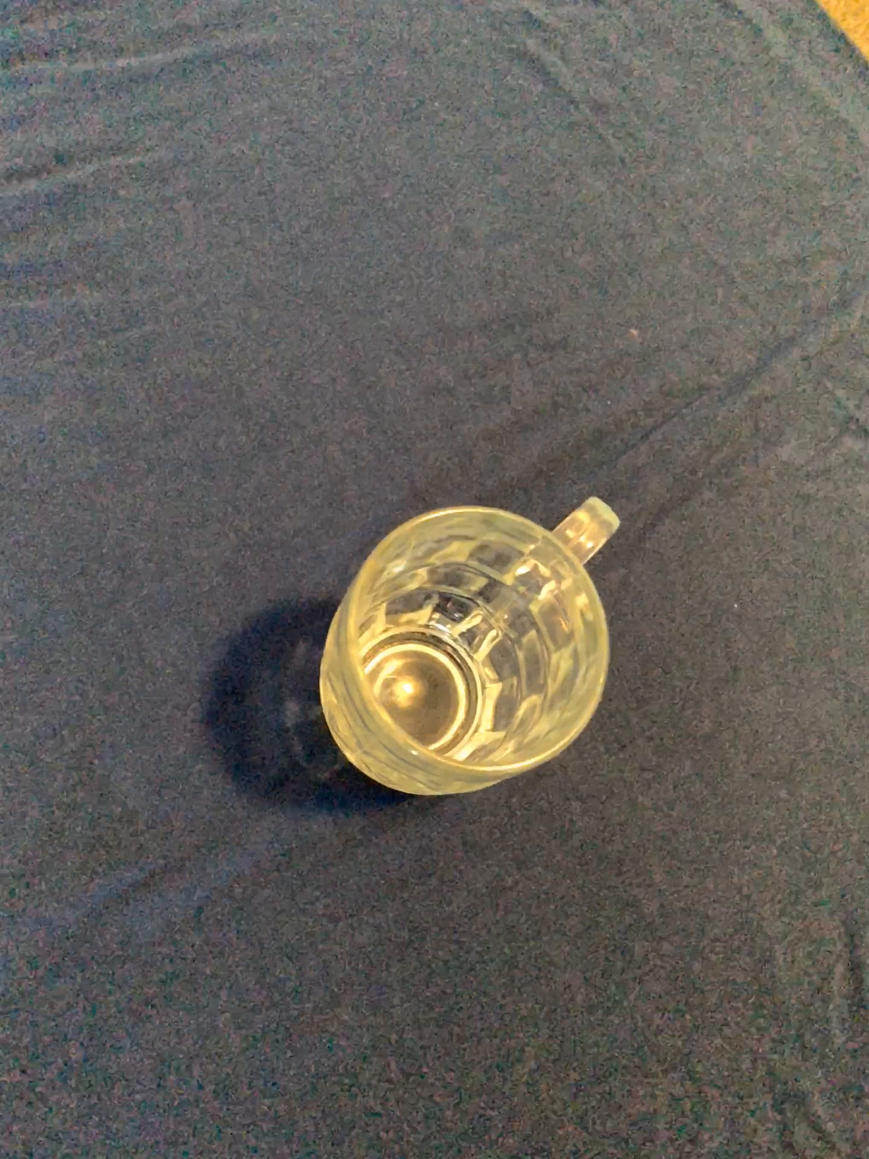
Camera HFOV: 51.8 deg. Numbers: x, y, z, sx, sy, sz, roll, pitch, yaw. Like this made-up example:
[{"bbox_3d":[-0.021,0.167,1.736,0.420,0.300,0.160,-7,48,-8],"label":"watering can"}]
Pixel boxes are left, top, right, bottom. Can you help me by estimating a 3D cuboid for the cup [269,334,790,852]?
[{"bbox_3d":[0.021,0.012,0.287,0.080,0.110,0.120,45,69,4],"label":"cup"}]
